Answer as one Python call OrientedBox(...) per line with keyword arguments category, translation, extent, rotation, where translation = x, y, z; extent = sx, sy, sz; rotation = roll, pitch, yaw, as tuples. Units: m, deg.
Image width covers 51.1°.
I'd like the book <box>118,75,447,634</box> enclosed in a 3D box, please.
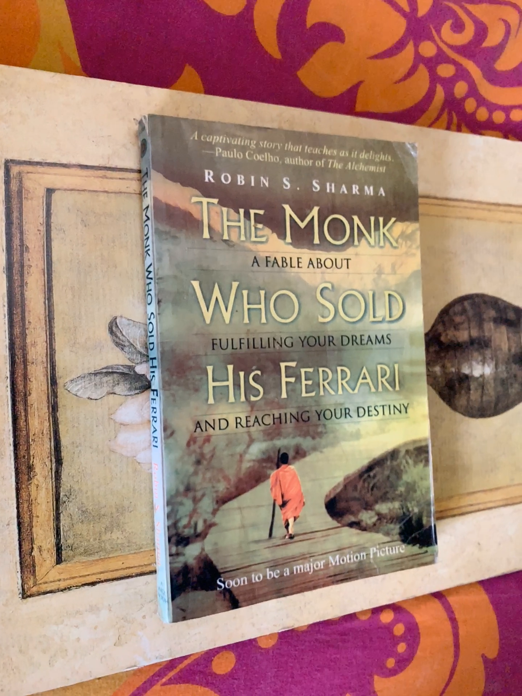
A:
OrientedBox(category="book", translation=(0.012, -0.001, 0.235), extent=(0.130, 0.030, 0.200), rotation=(-3, 89, -23))
